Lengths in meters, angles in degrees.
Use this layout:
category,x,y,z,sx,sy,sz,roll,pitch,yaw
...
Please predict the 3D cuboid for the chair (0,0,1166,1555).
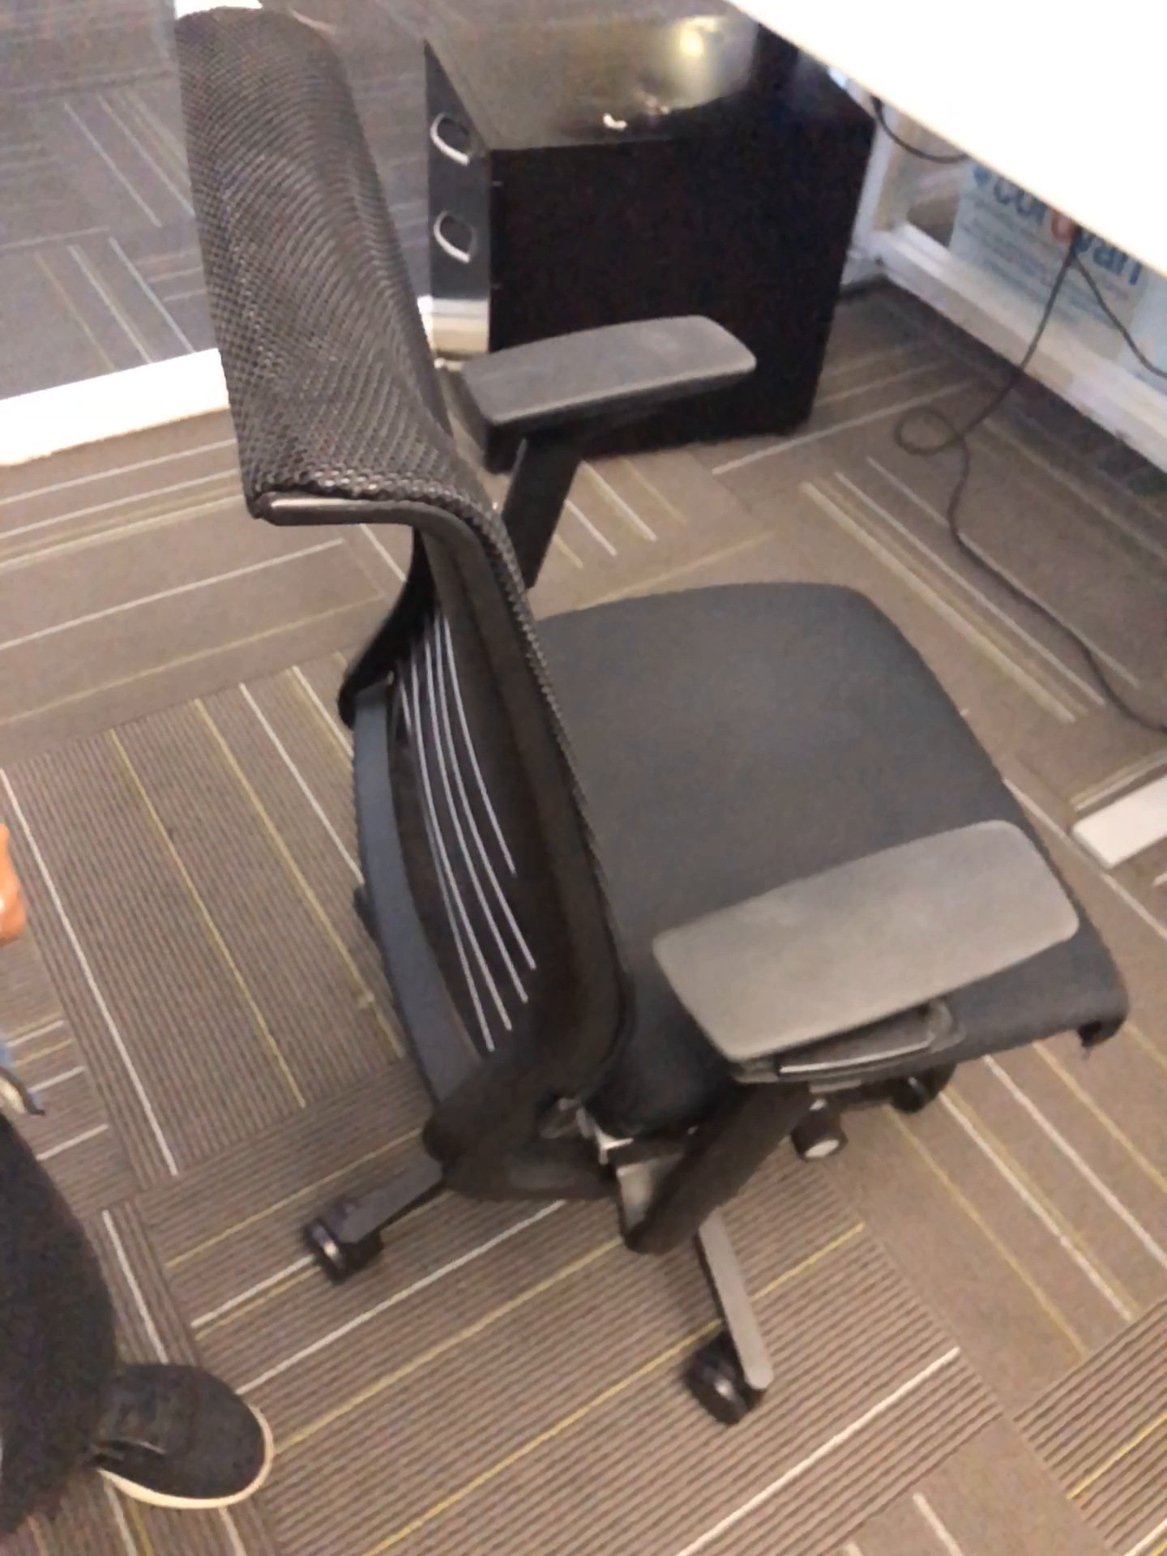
category,x,y,z,sx,sy,sz,roll,pitch,yaw
chair,0.048,-0.029,0.982,0.660,0.996,0.753,-11,51,-15
